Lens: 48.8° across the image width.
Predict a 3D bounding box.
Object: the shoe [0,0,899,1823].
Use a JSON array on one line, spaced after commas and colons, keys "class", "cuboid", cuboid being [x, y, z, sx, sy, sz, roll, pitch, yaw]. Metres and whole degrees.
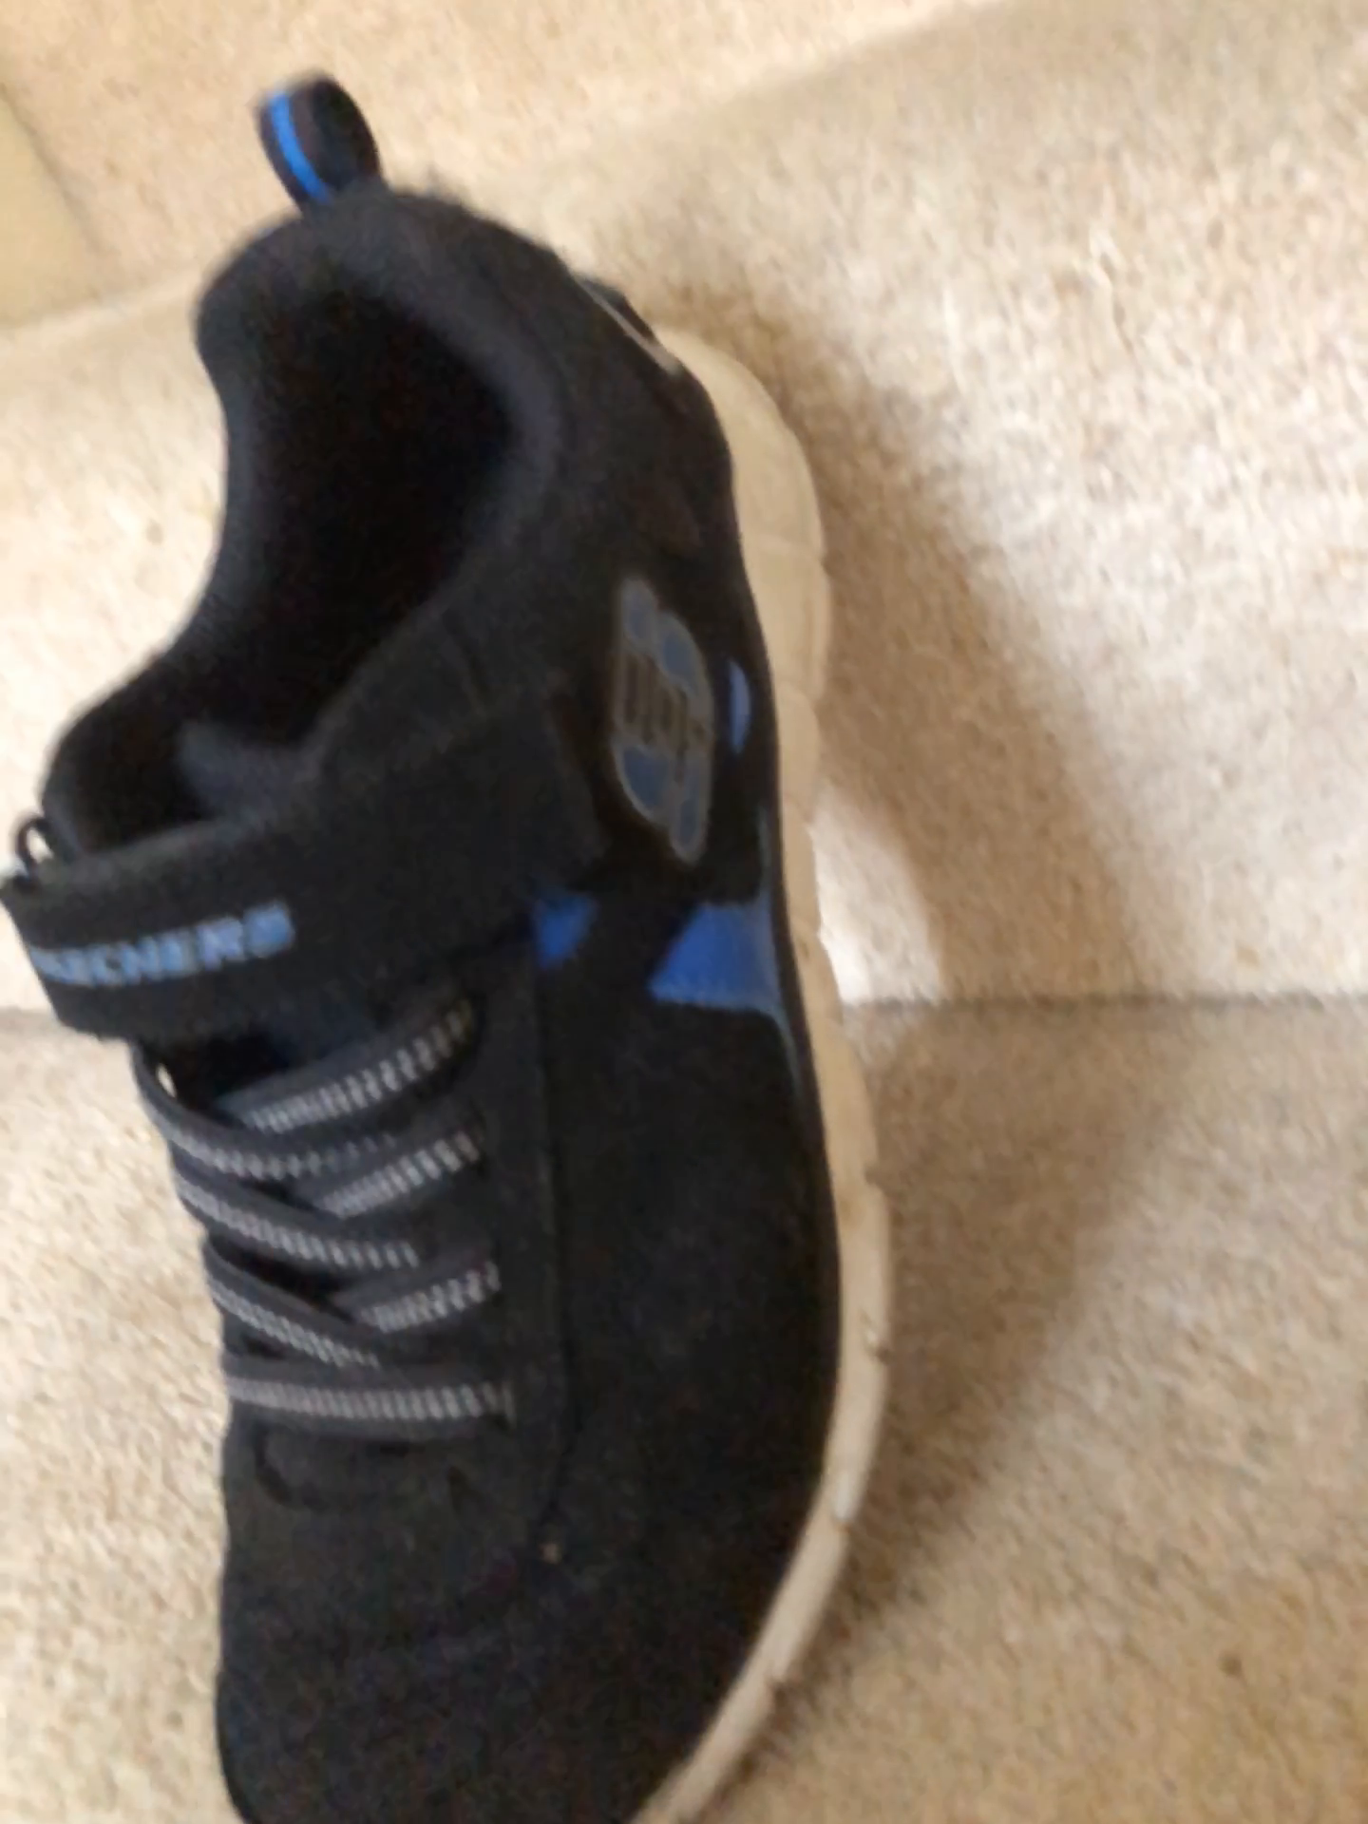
[{"class": "shoe", "cuboid": [-0.039, 0.010, 0.203, 0.090, 0.220, 0.100, -7, -11, 40]}]
